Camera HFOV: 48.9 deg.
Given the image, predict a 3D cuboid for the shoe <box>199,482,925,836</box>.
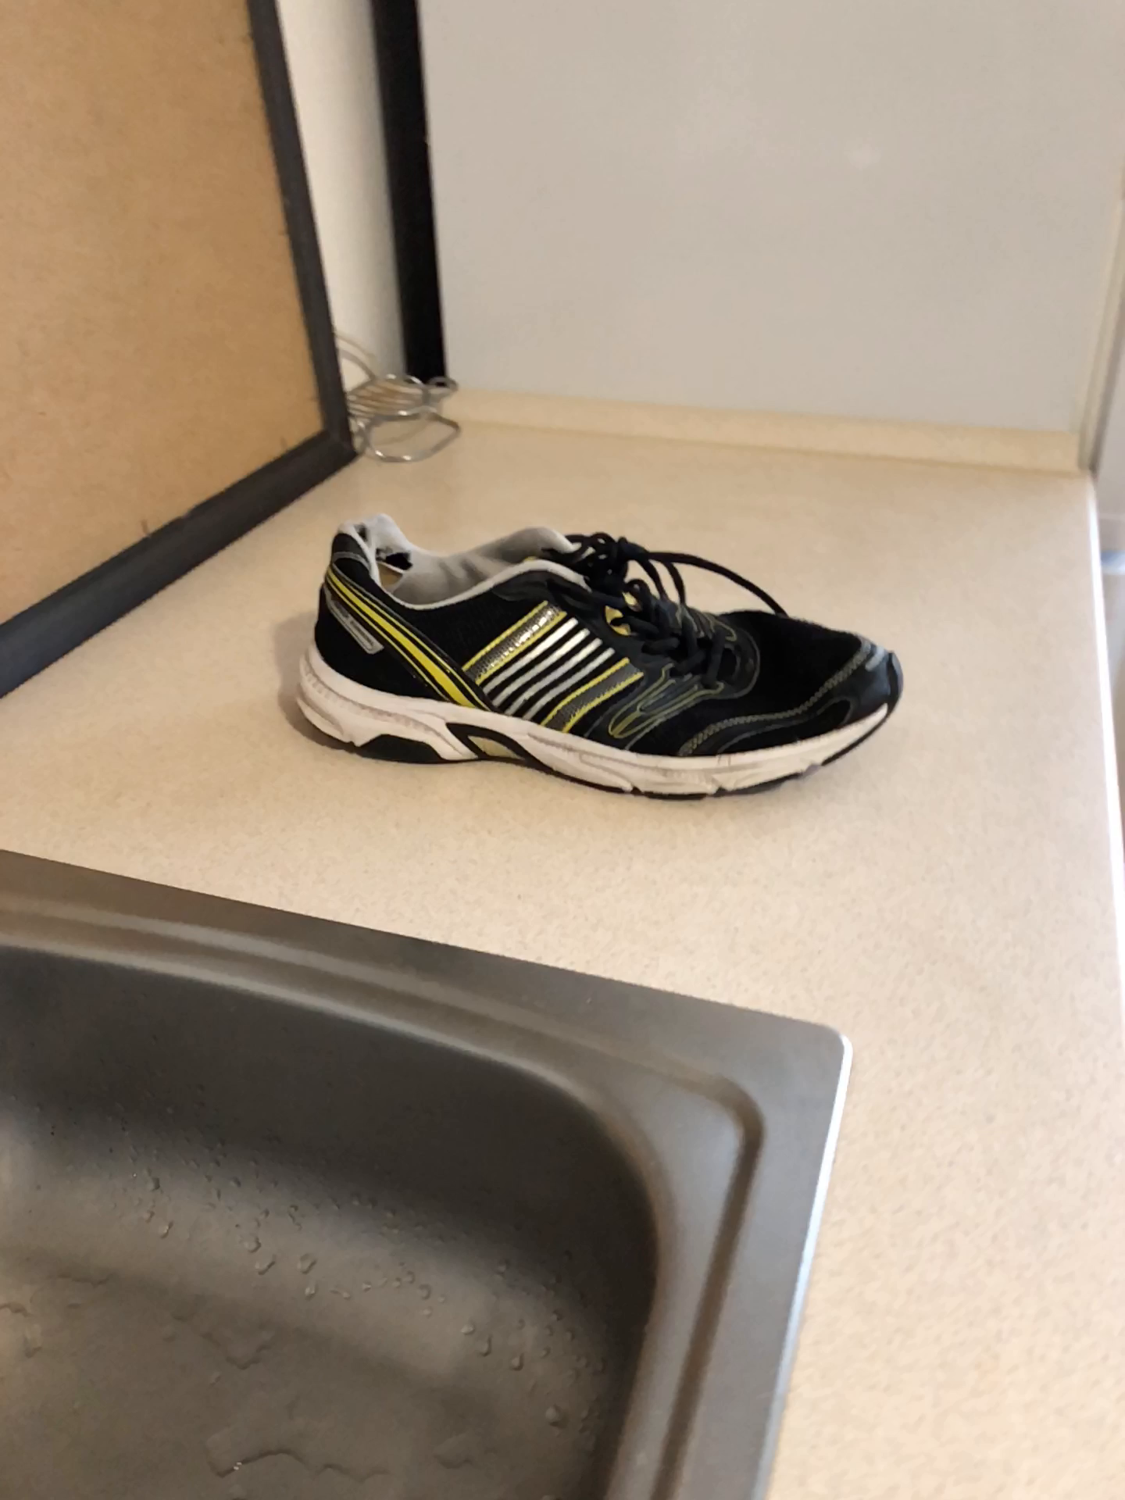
[{"bbox_3d":[0.004,-0.052,0.584,0.310,0.099,0.111,7,32,14],"label":"shoe"}]
